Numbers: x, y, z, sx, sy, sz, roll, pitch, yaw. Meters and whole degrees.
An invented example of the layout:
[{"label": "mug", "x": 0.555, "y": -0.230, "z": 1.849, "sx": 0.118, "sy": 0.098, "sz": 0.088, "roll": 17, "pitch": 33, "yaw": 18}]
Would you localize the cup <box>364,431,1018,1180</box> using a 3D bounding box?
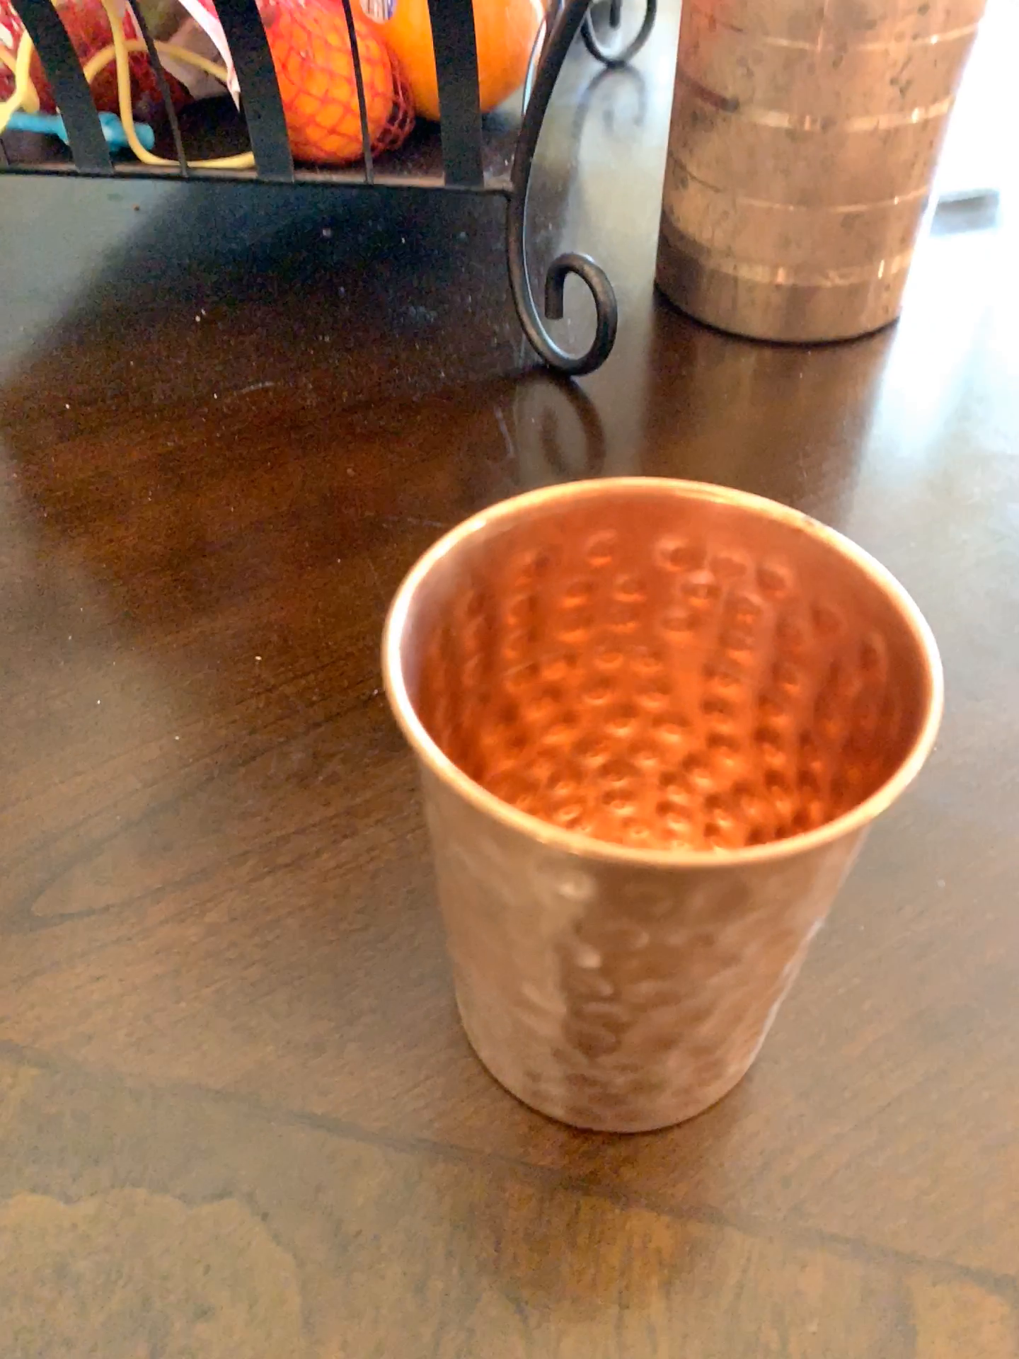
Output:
[{"label": "cup", "x": 0.021, "y": 0.020, "z": 0.156, "sx": 0.066, "sy": 0.083, "sz": 0.070, "roll": 1, "pitch": 46, "yaw": -1}]
